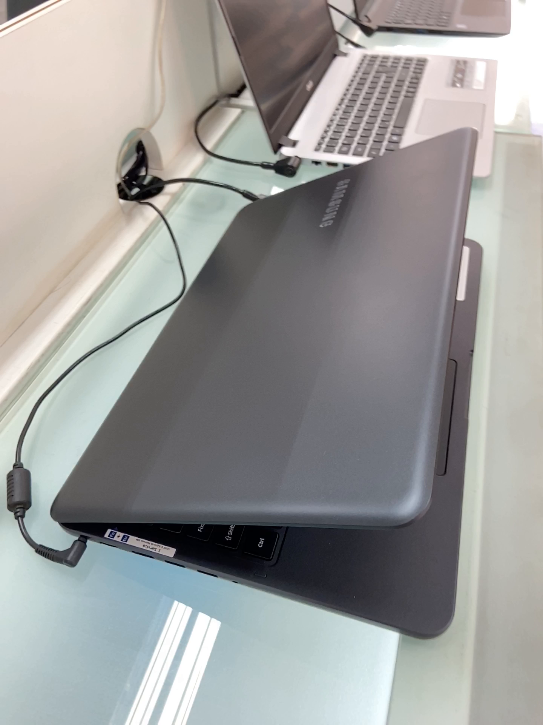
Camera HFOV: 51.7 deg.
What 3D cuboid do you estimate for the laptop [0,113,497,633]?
[{"bbox_3d":[0.030,-0.046,0.414,0.233,0.101,0.378,11,47,13],"label":"laptop"}]
